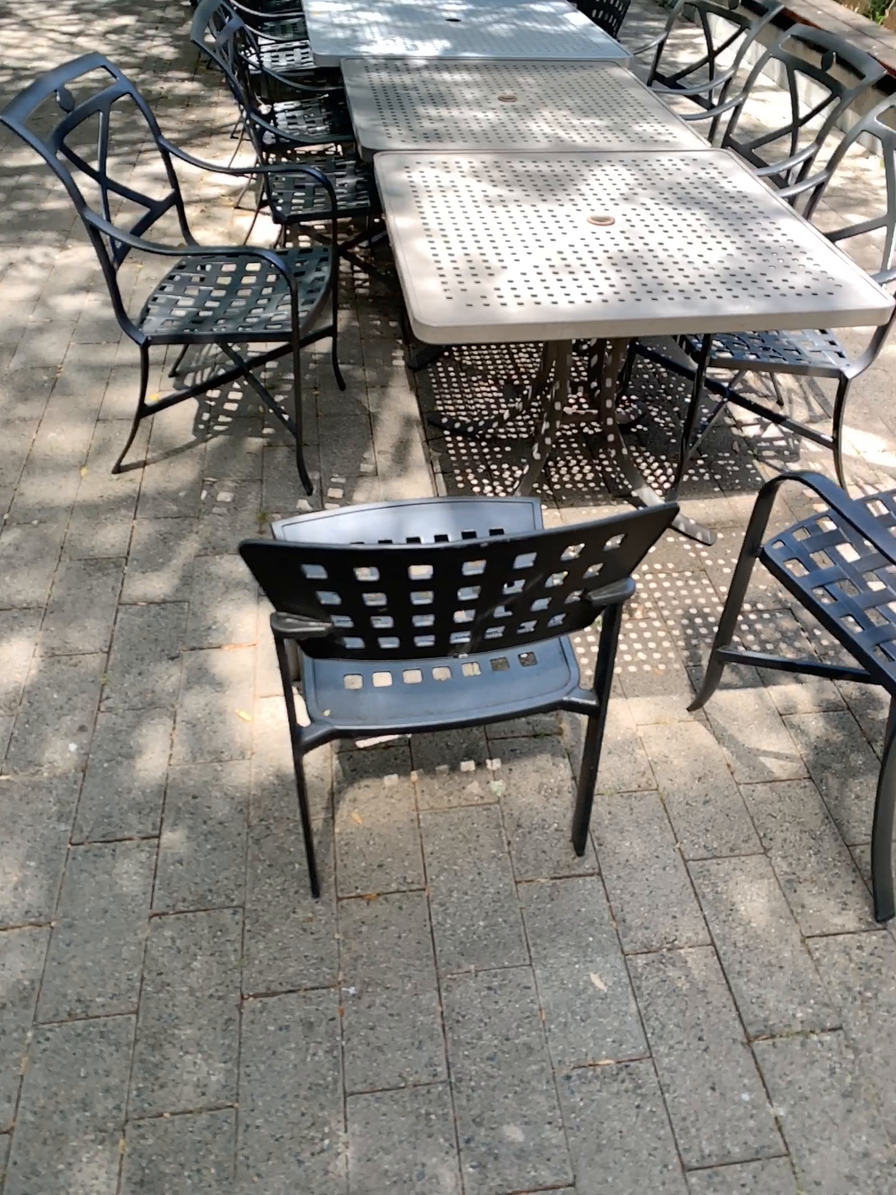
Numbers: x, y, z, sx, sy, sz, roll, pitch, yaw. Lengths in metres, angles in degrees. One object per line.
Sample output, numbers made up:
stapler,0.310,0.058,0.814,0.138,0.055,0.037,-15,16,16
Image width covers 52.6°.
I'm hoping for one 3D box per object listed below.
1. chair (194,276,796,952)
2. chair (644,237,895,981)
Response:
chair,-0.009,0.009,1.389,0.620,0.706,0.654,-7,44,-10
chair,0.816,-0.008,1.396,0.620,0.756,0.653,-20,47,-22
